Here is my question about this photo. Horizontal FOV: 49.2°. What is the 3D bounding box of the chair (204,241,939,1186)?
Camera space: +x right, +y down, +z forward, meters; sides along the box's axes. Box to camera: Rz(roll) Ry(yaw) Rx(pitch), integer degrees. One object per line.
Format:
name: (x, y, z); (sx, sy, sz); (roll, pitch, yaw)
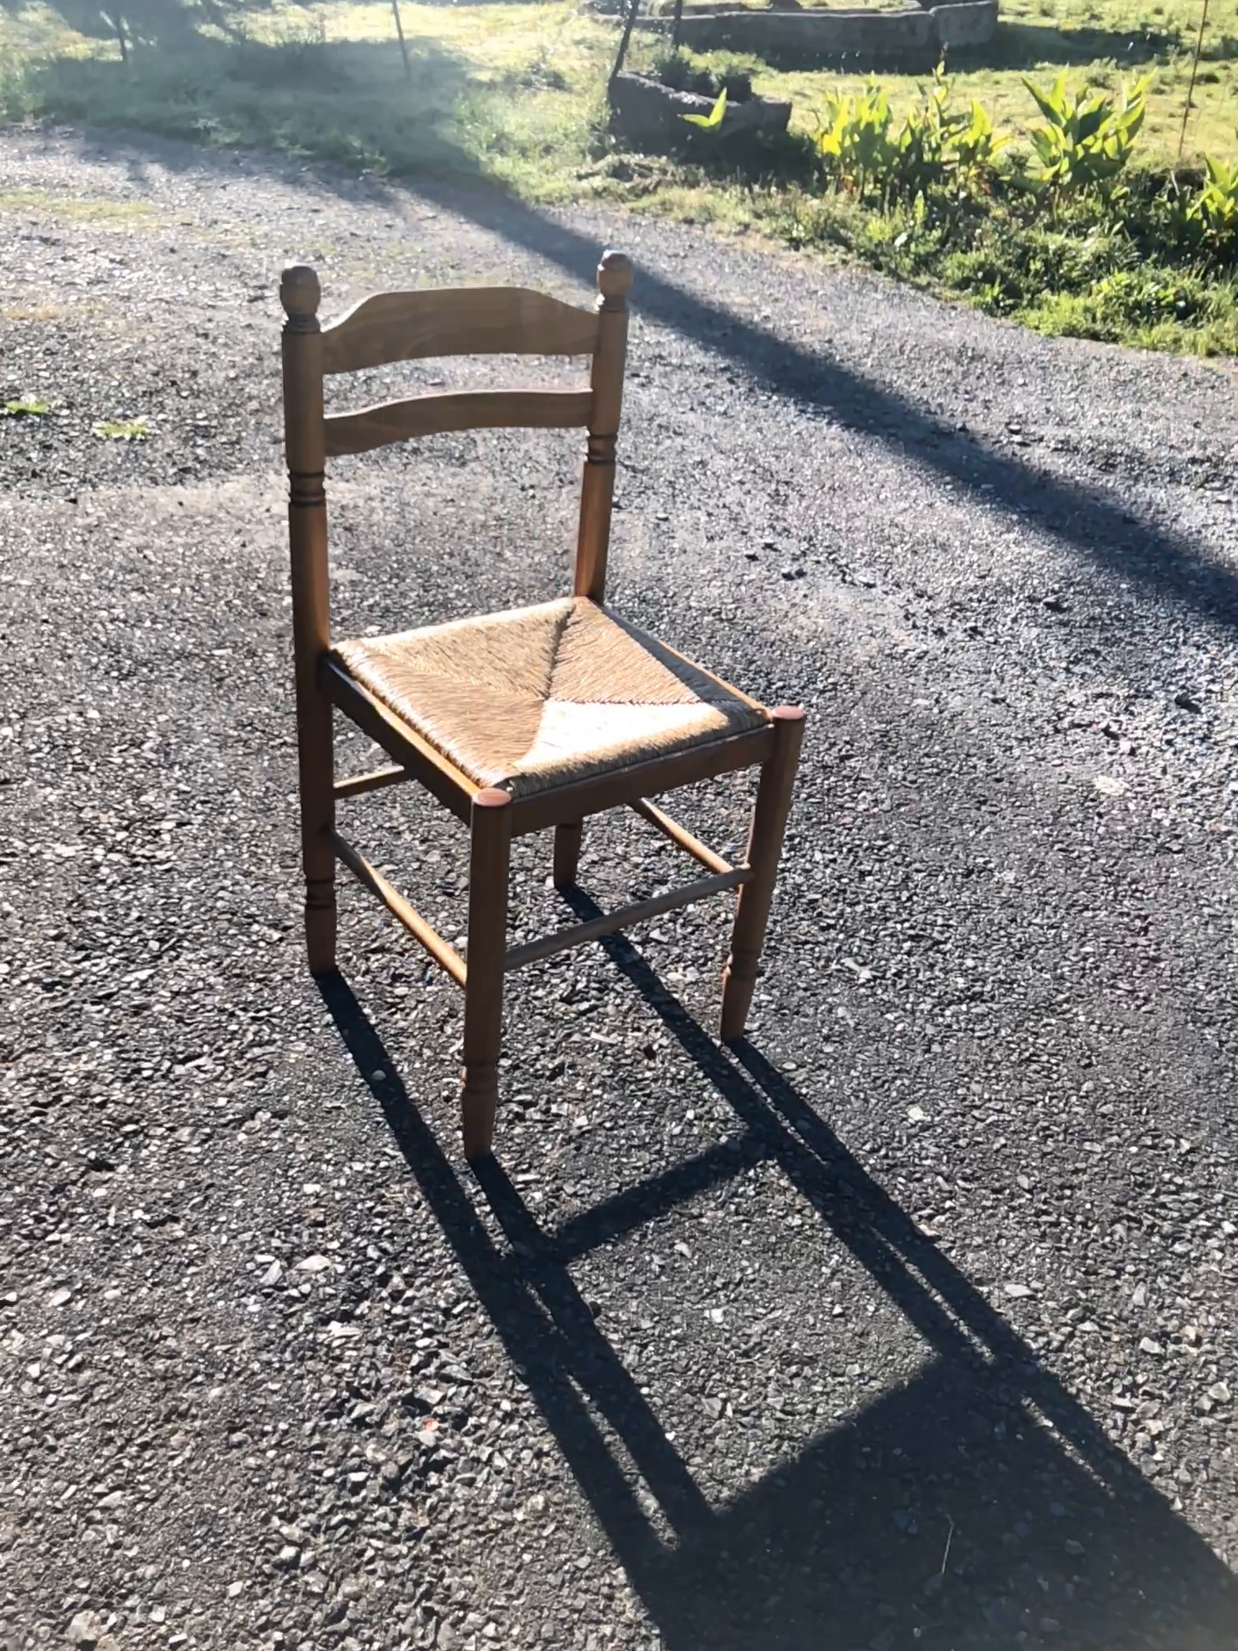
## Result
chair: (-0.074, -0.154, 1.455); (0.492, 0.795, 0.491); (-18, 37, -32)
